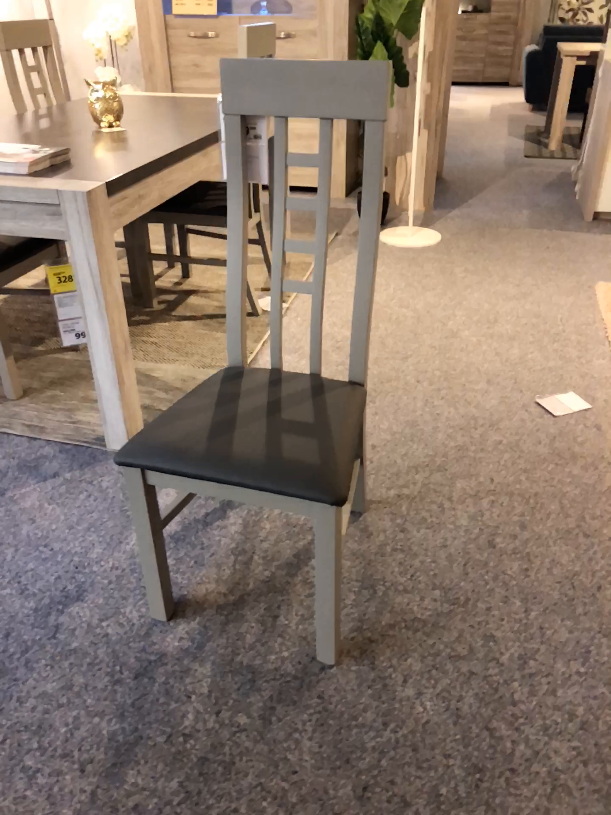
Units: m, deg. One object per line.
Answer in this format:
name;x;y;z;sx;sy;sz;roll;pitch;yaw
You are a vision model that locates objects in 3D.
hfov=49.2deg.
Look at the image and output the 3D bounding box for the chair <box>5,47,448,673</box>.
chair;-0.065;-0.109;1.300;0.510;1.014;0.554;9;32;15
